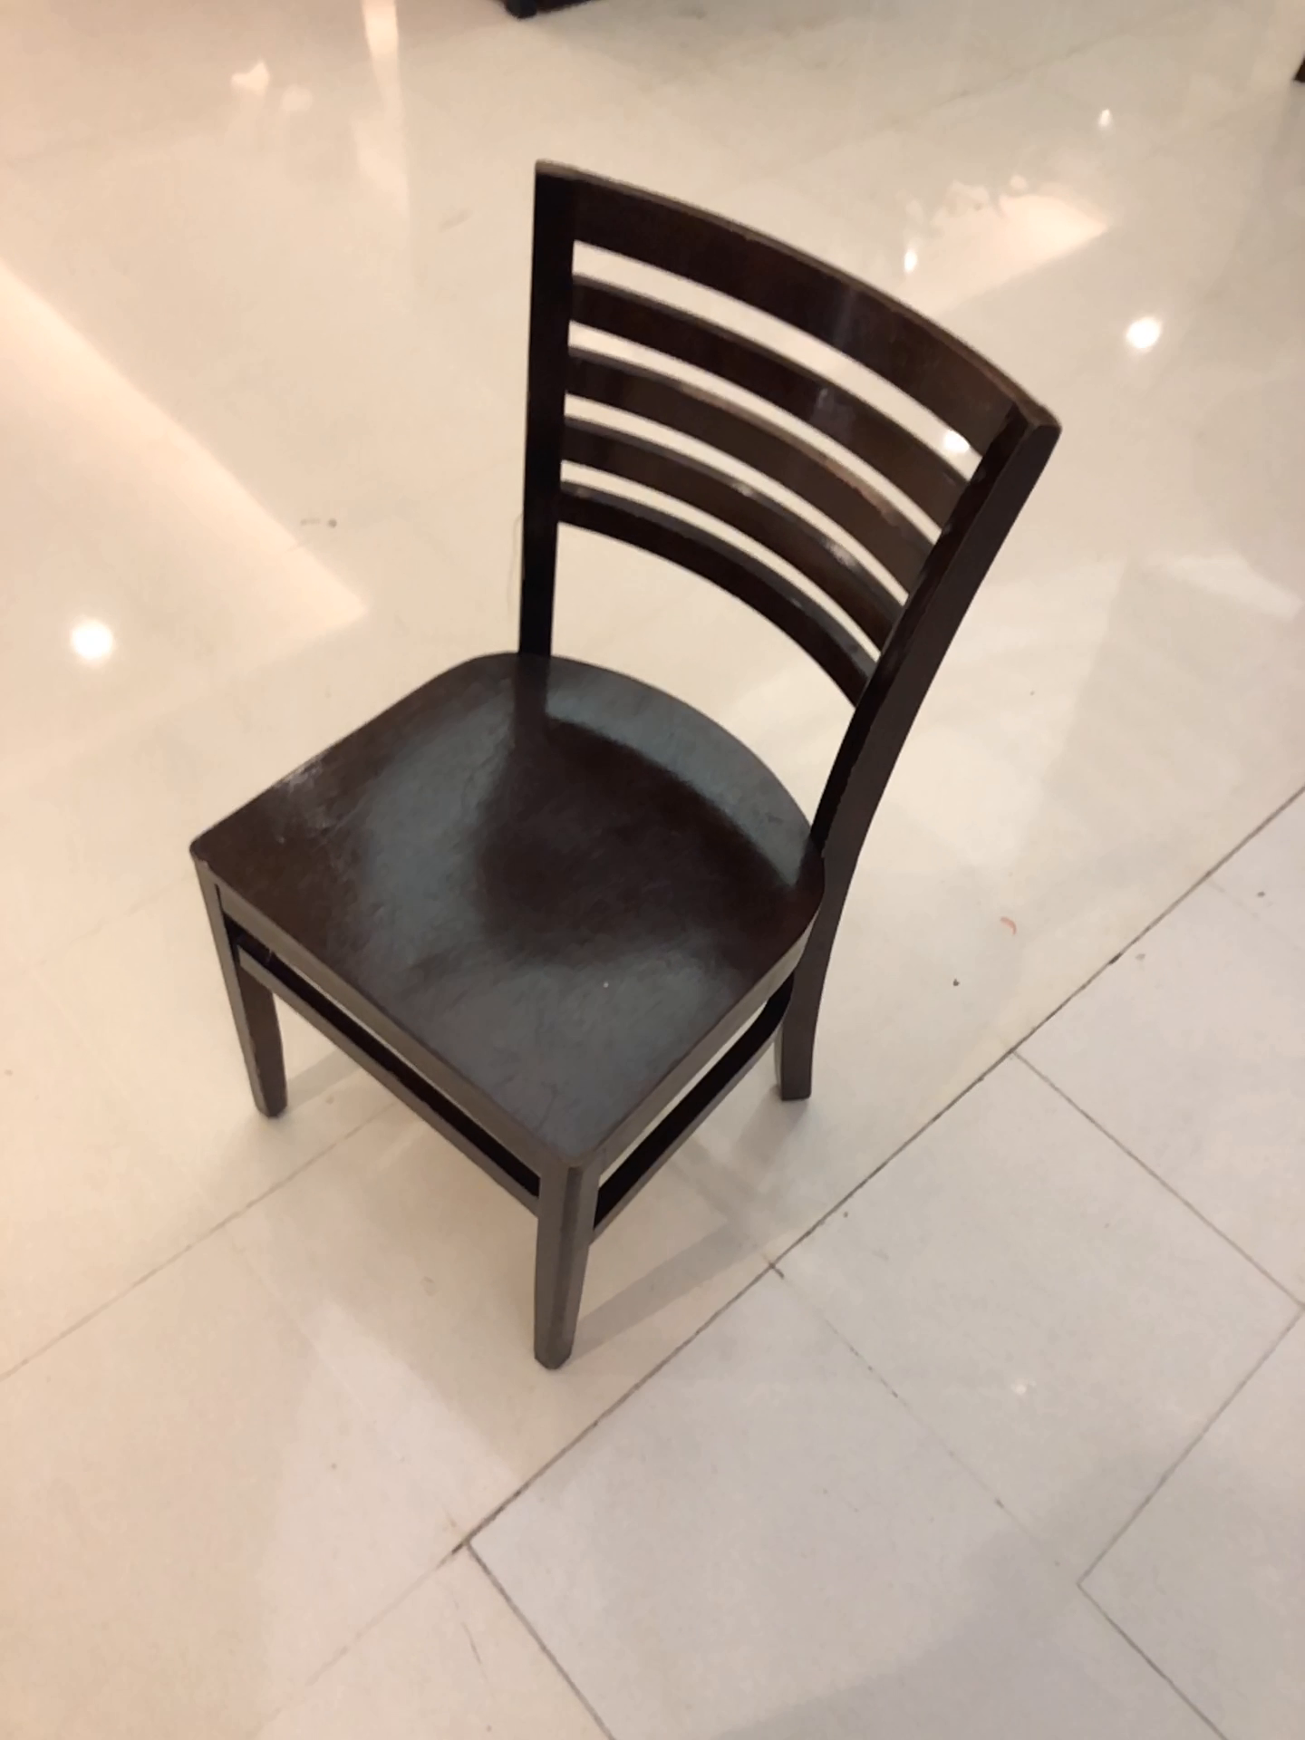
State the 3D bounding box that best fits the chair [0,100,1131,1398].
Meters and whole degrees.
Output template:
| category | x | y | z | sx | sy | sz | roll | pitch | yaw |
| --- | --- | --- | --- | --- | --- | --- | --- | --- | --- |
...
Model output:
| category | x | y | z | sx | sy | sz | roll | pitch | yaw |
| --- | --- | --- | --- | --- | --- | --- | --- | --- | --- |
| chair | -0.073 | -0.049 | 1.212 | 0.461 | 0.845 | 0.542 | 37 | 58 | 21 |
